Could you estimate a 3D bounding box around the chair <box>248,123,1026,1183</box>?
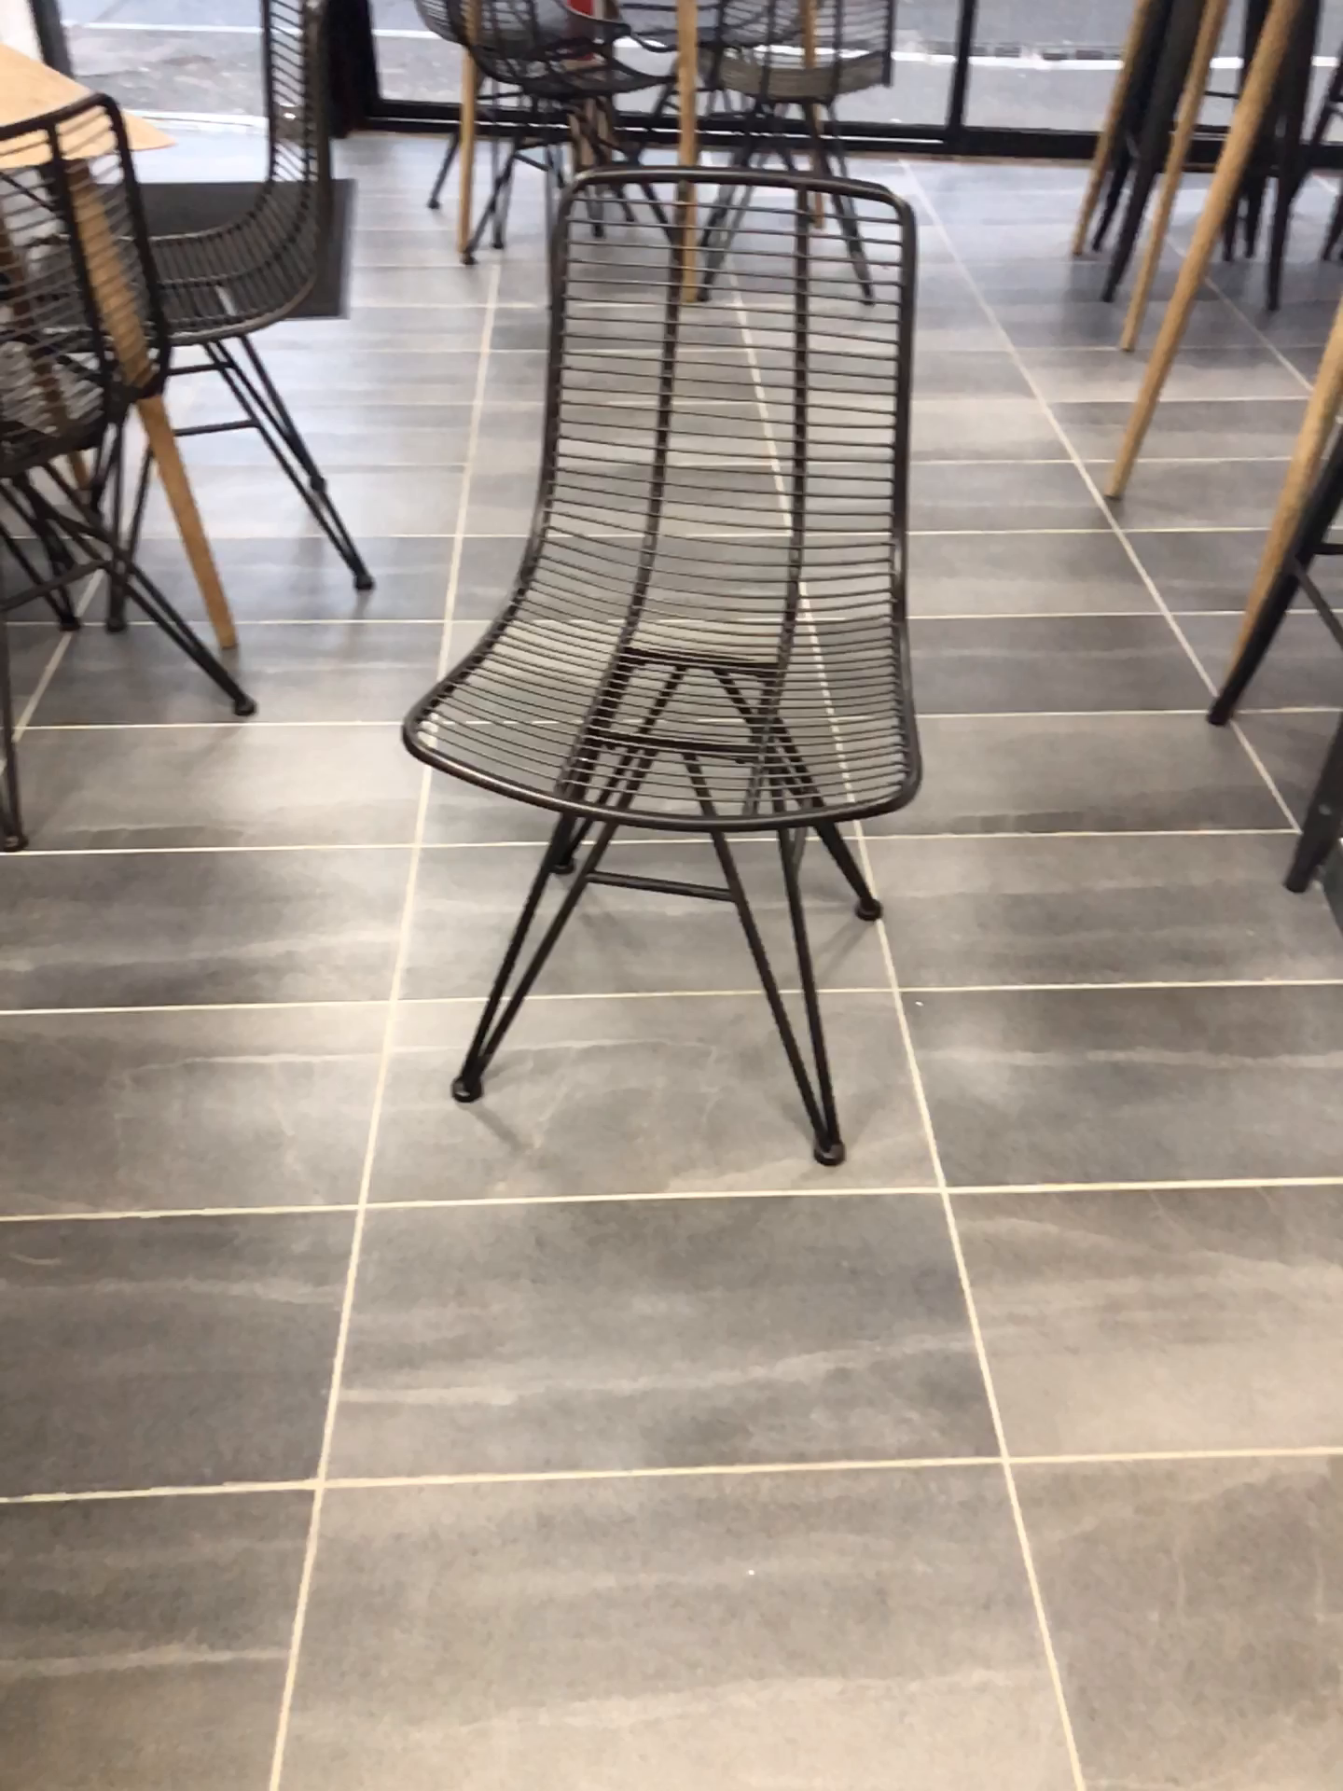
[{"bbox_3d":[0.012,-0.223,1.392,0.500,0.785,0.523,8,41,9],"label":"chair"}]
